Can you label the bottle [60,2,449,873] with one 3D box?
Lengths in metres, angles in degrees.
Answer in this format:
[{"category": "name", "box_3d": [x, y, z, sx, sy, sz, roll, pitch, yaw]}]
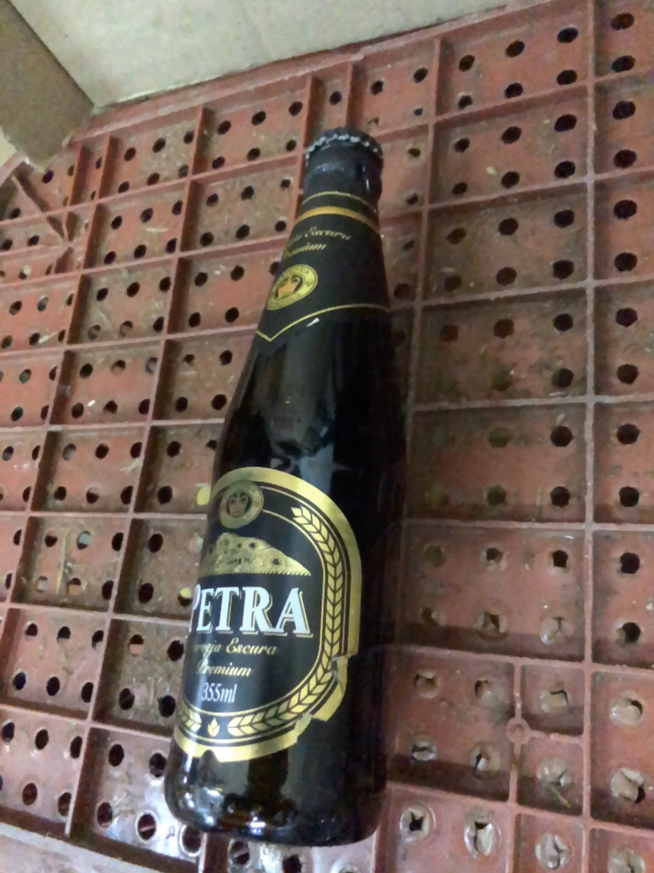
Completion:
[{"category": "bottle", "box_3d": [-0.009, -0.004, 0.226, 0.070, 0.060, 0.250, -4, 69, 26]}]
